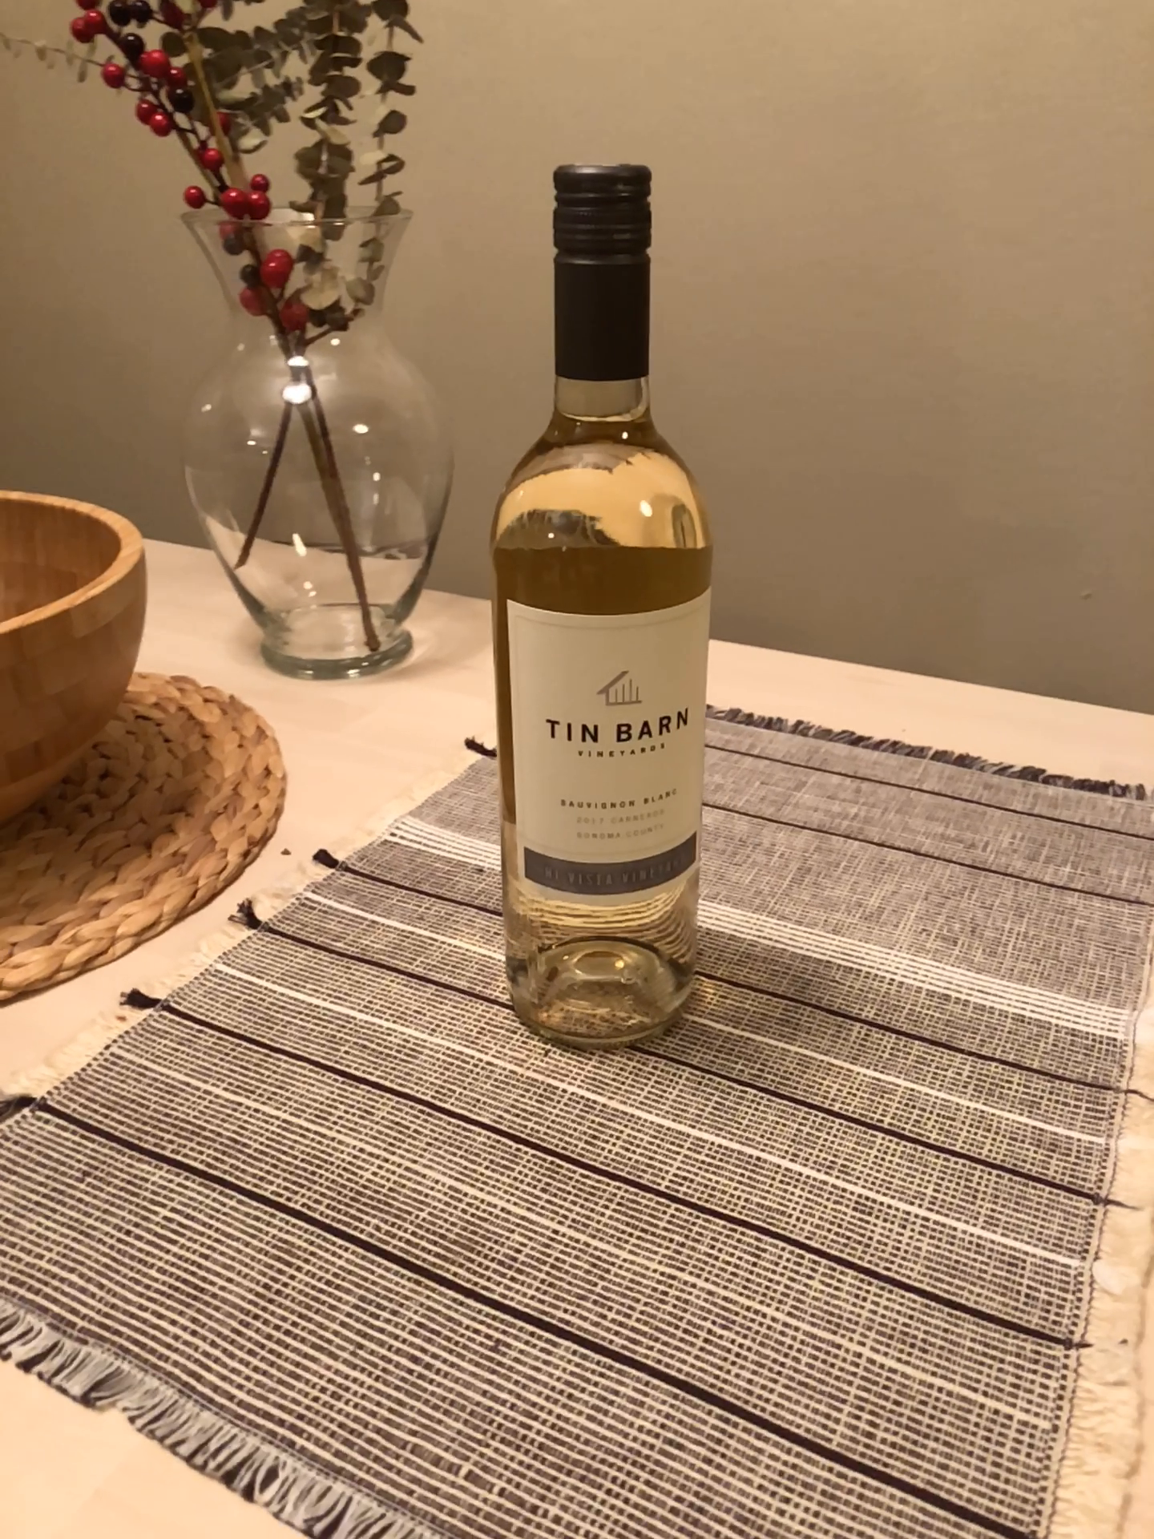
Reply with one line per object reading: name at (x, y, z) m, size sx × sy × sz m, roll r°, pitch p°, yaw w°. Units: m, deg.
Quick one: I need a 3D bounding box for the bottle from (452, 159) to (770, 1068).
bottle at (0.007, -0.047, 0.442) m, size 0.080 × 0.298 × 0.080 m, roll 0°, pitch 25°, yaw 0°
